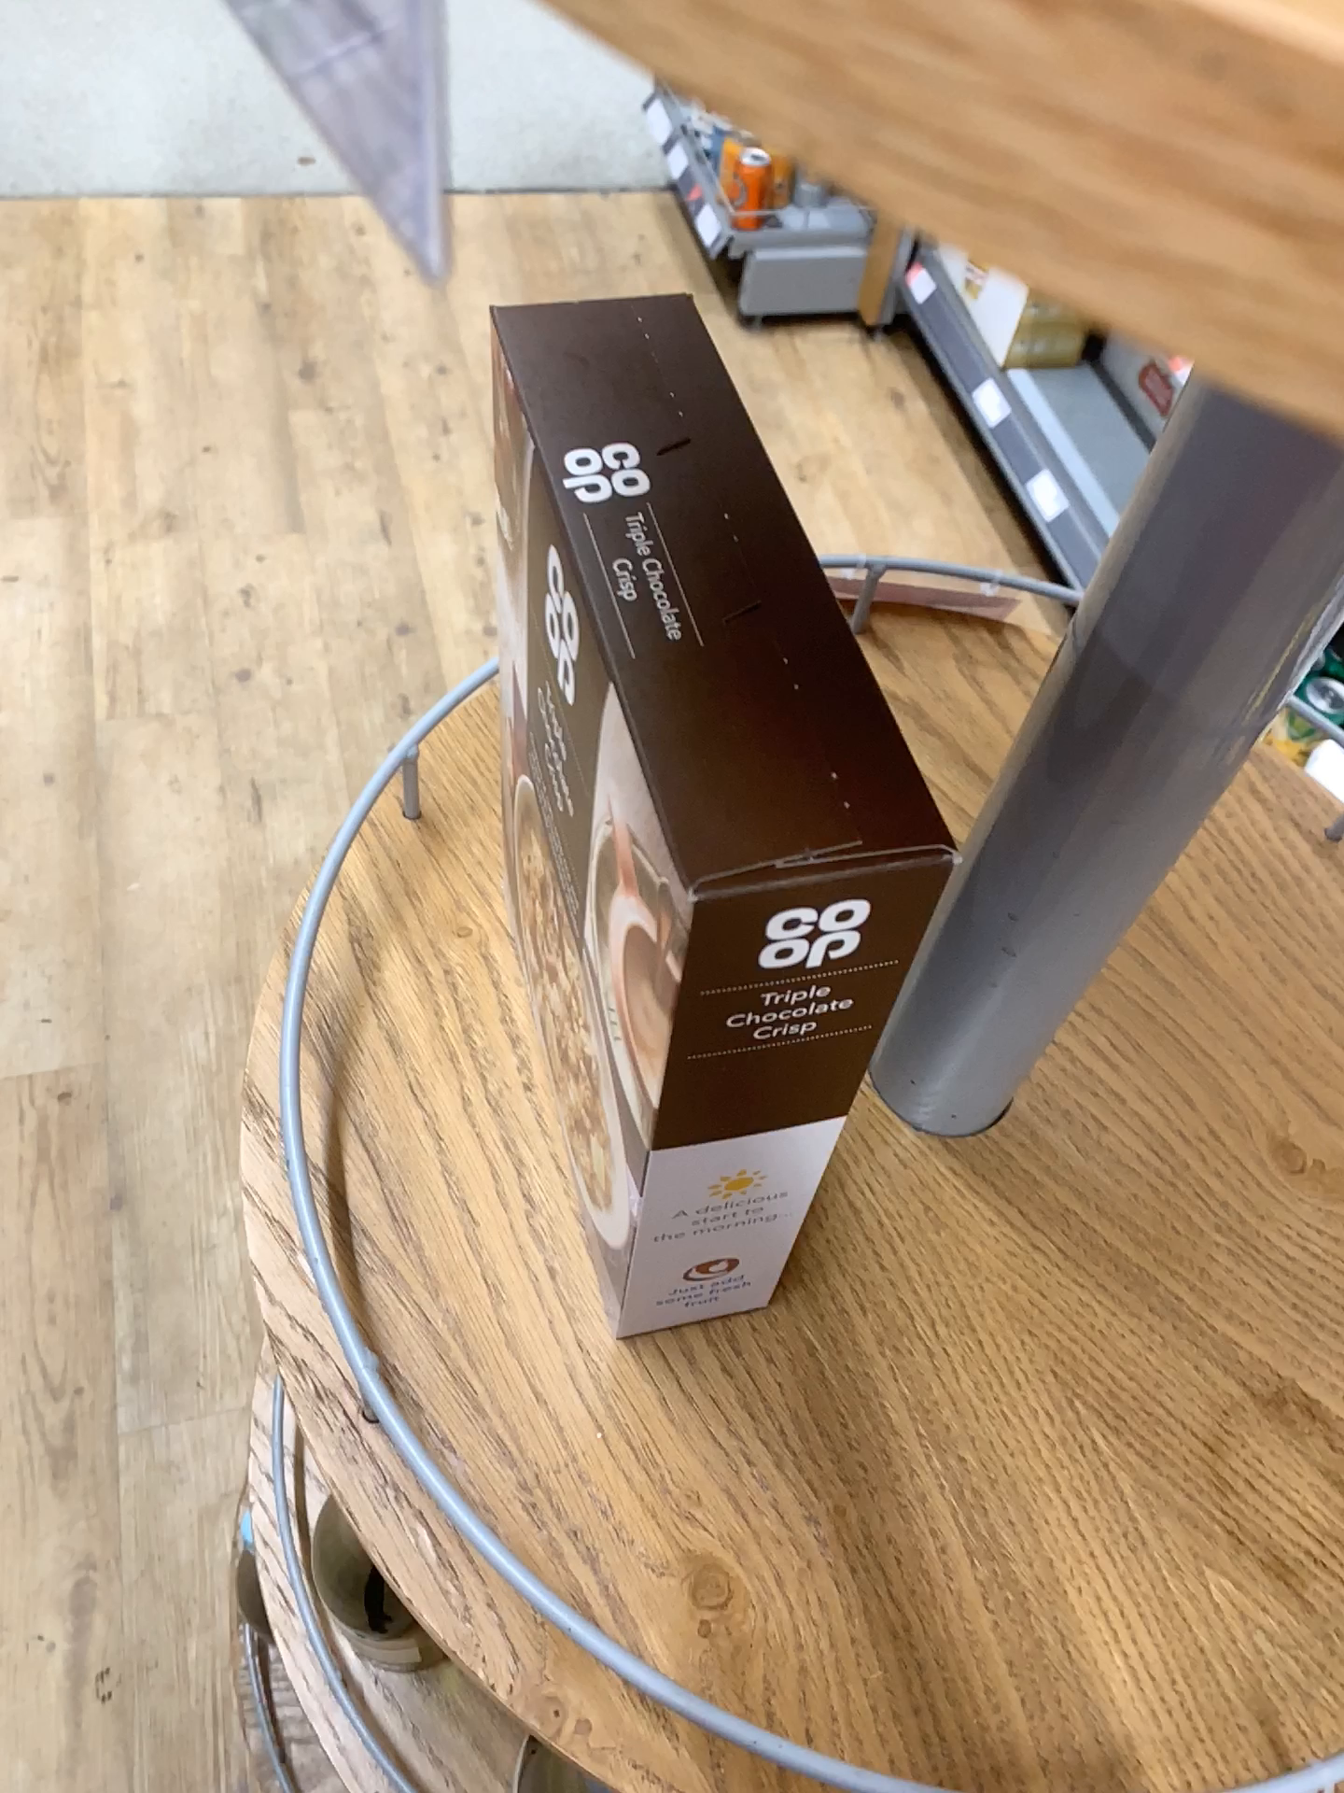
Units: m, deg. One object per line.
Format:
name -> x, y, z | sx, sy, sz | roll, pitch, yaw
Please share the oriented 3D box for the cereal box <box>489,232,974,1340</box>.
cereal box -> -0.007, -0.013, 0.386 | 0.050, 0.248, 0.191 | -9, 57, -13
